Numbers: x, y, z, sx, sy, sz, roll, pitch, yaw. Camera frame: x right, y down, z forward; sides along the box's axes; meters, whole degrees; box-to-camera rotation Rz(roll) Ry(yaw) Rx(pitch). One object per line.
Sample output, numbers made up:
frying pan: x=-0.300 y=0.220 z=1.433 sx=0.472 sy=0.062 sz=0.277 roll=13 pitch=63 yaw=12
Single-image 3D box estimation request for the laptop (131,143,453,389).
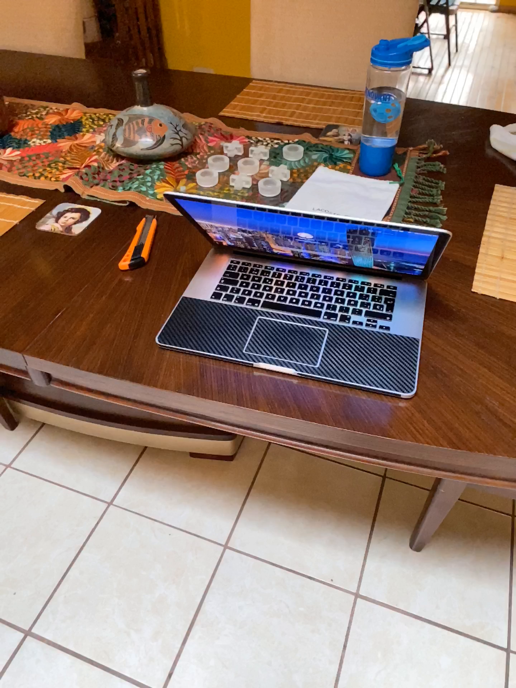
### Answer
laptop: x=0.057 y=-0.120 z=0.719 sx=0.354 sy=0.181 sz=0.237 roll=11 pitch=45 yaw=12
